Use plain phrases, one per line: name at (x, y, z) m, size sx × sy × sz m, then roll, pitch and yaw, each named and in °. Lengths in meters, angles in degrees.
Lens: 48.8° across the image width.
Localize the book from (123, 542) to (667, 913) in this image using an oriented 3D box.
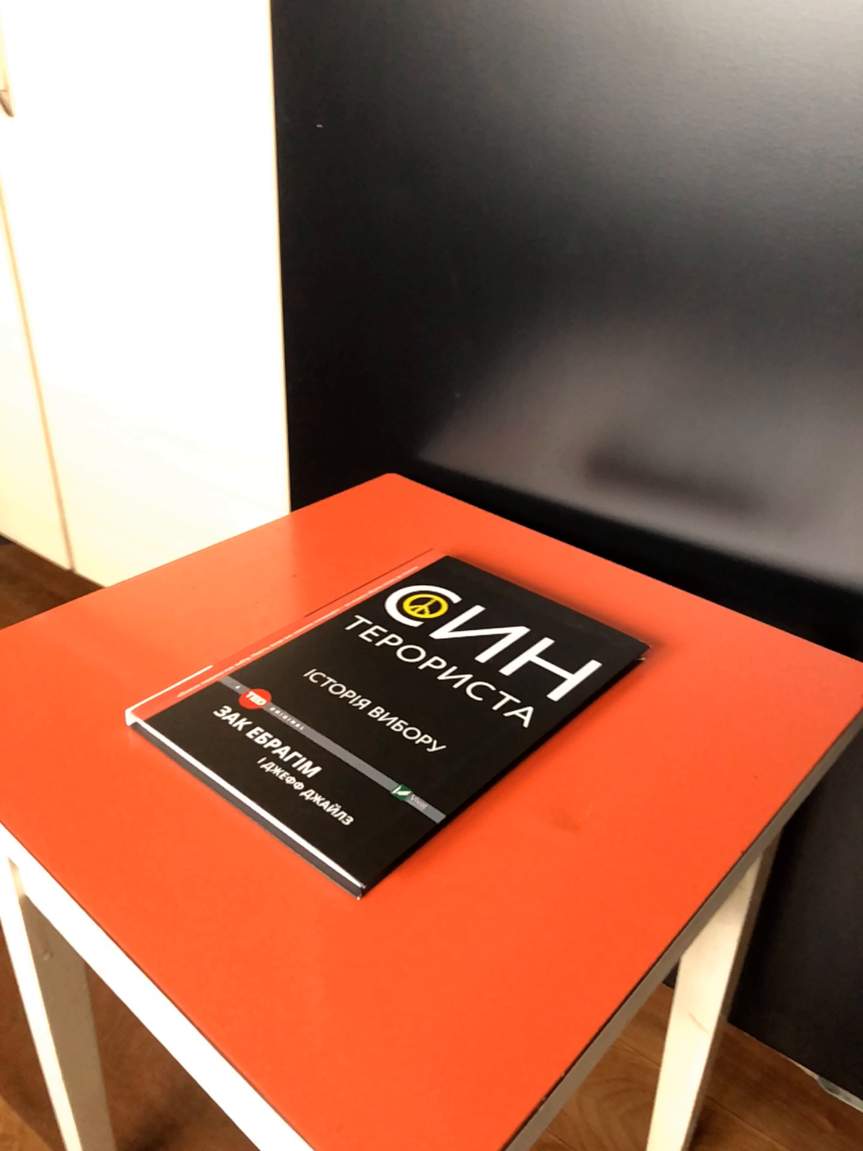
book at (-0.010, 0.049, 0.440) m, size 0.150 × 0.013 × 0.206 m, roll 25°, pitch 37°, yaw 34°
